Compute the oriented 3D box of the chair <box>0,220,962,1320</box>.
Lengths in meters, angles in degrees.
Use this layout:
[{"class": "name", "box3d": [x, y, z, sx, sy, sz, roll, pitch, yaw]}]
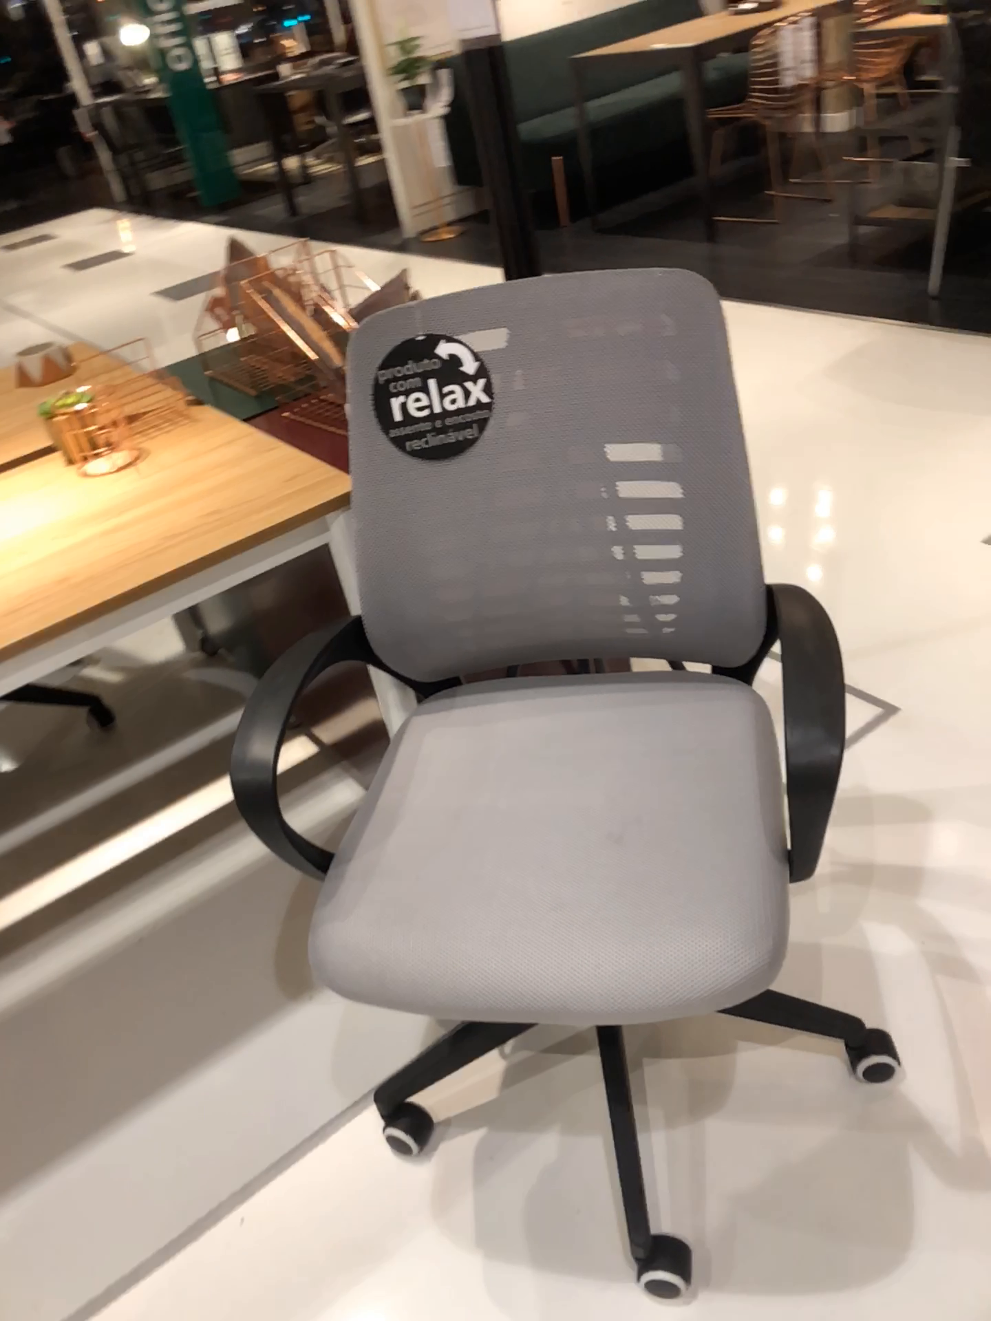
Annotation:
[{"class": "chair", "box3d": [0.058, 0.124, 1.113, 0.660, 0.853, 0.665, -3, 34, 16]}]
